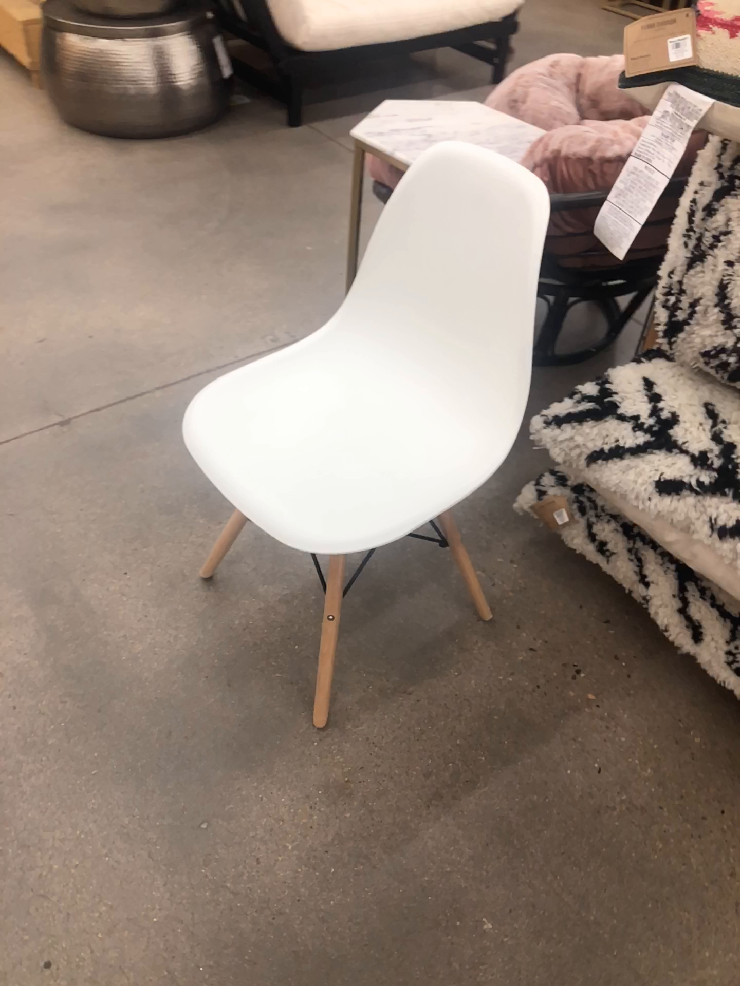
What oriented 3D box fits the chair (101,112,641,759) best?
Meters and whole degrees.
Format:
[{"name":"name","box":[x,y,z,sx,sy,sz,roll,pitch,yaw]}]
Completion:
[{"name":"chair","box":[-0.021,-0.081,1.311,0.531,0.806,0.441,-25,51,-27]}]
